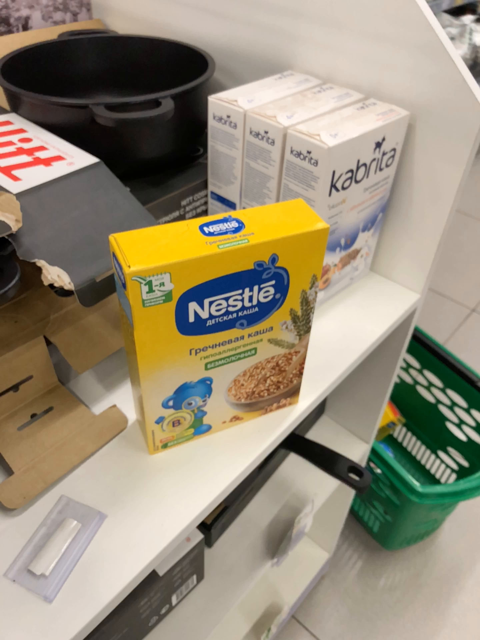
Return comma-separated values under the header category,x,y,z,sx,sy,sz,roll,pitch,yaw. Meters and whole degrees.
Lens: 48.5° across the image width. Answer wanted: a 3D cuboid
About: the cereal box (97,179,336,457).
category,x,y,z,sx,sy,sz,roll,pitch,yaw
cereal box,-0.018,0.005,0.417,0.150,0.199,0.050,-16,45,-20
